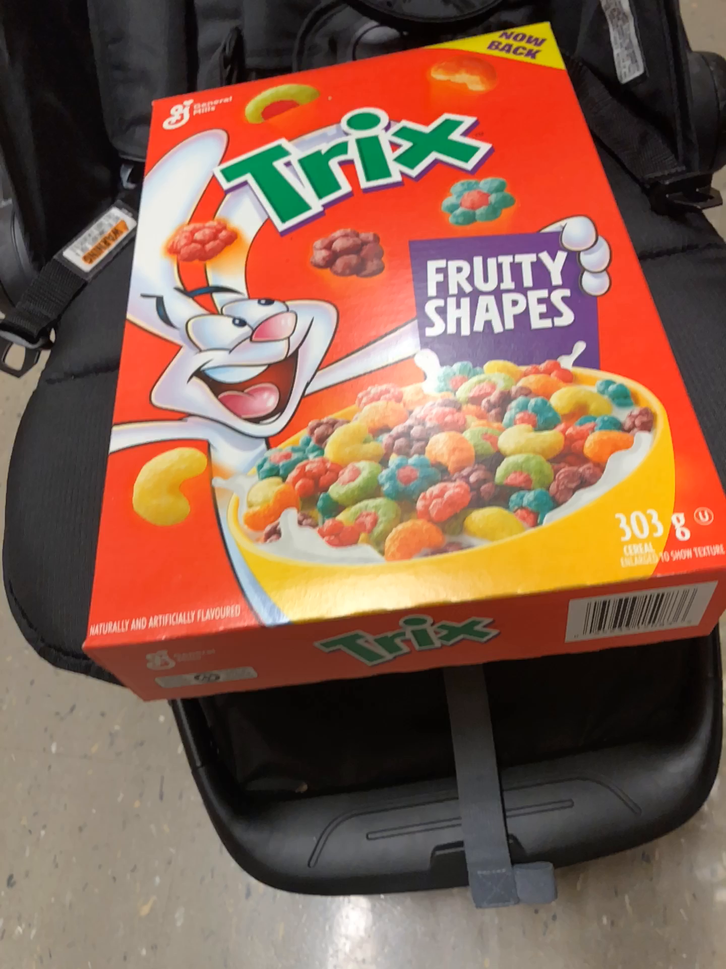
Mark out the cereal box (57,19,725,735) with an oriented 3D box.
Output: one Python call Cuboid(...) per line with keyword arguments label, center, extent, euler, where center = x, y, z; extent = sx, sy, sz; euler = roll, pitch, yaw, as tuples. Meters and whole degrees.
Cuboid(label="cereal box", center=(0.004, -0.061, 0.323), extent=(0.200, 0.060, 0.280), euler=(-8, 58, 5))
